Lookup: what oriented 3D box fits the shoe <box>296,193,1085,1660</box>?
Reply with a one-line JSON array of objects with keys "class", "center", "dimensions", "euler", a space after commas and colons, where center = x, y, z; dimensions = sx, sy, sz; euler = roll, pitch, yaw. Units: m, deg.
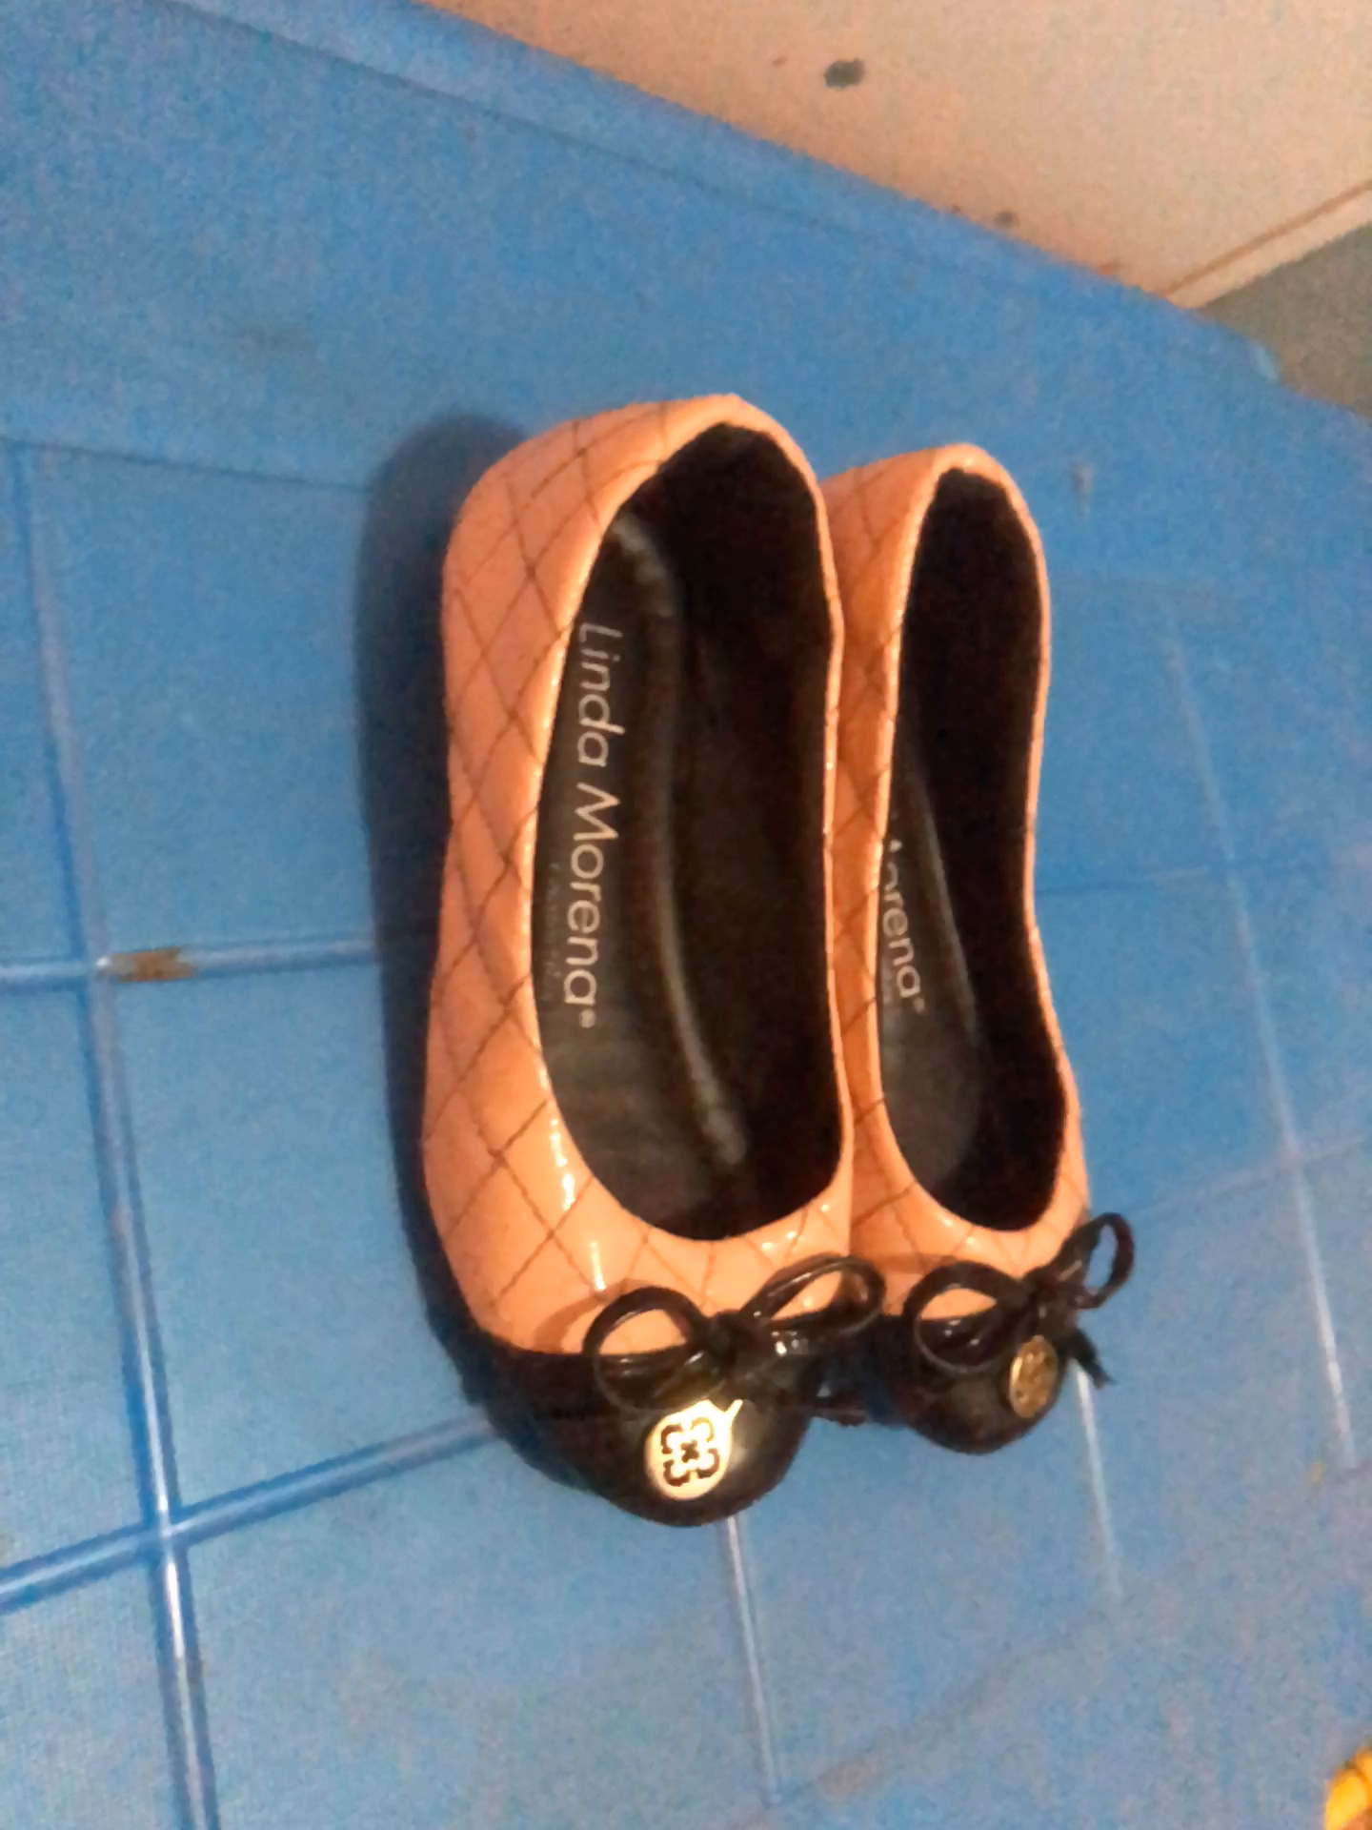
[{"class": "shoe", "center": [-0.003, 0.002, 0.250], "dimensions": [0.070, 0.079, 0.190], "euler": [-3, 83, -42]}]

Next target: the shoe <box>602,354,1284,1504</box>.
[{"class": "shoe", "center": [0.048, 0.004, 0.304], "dimensions": [0.070, 0.079, 0.190], "euler": [-4, 84, -42]}]
